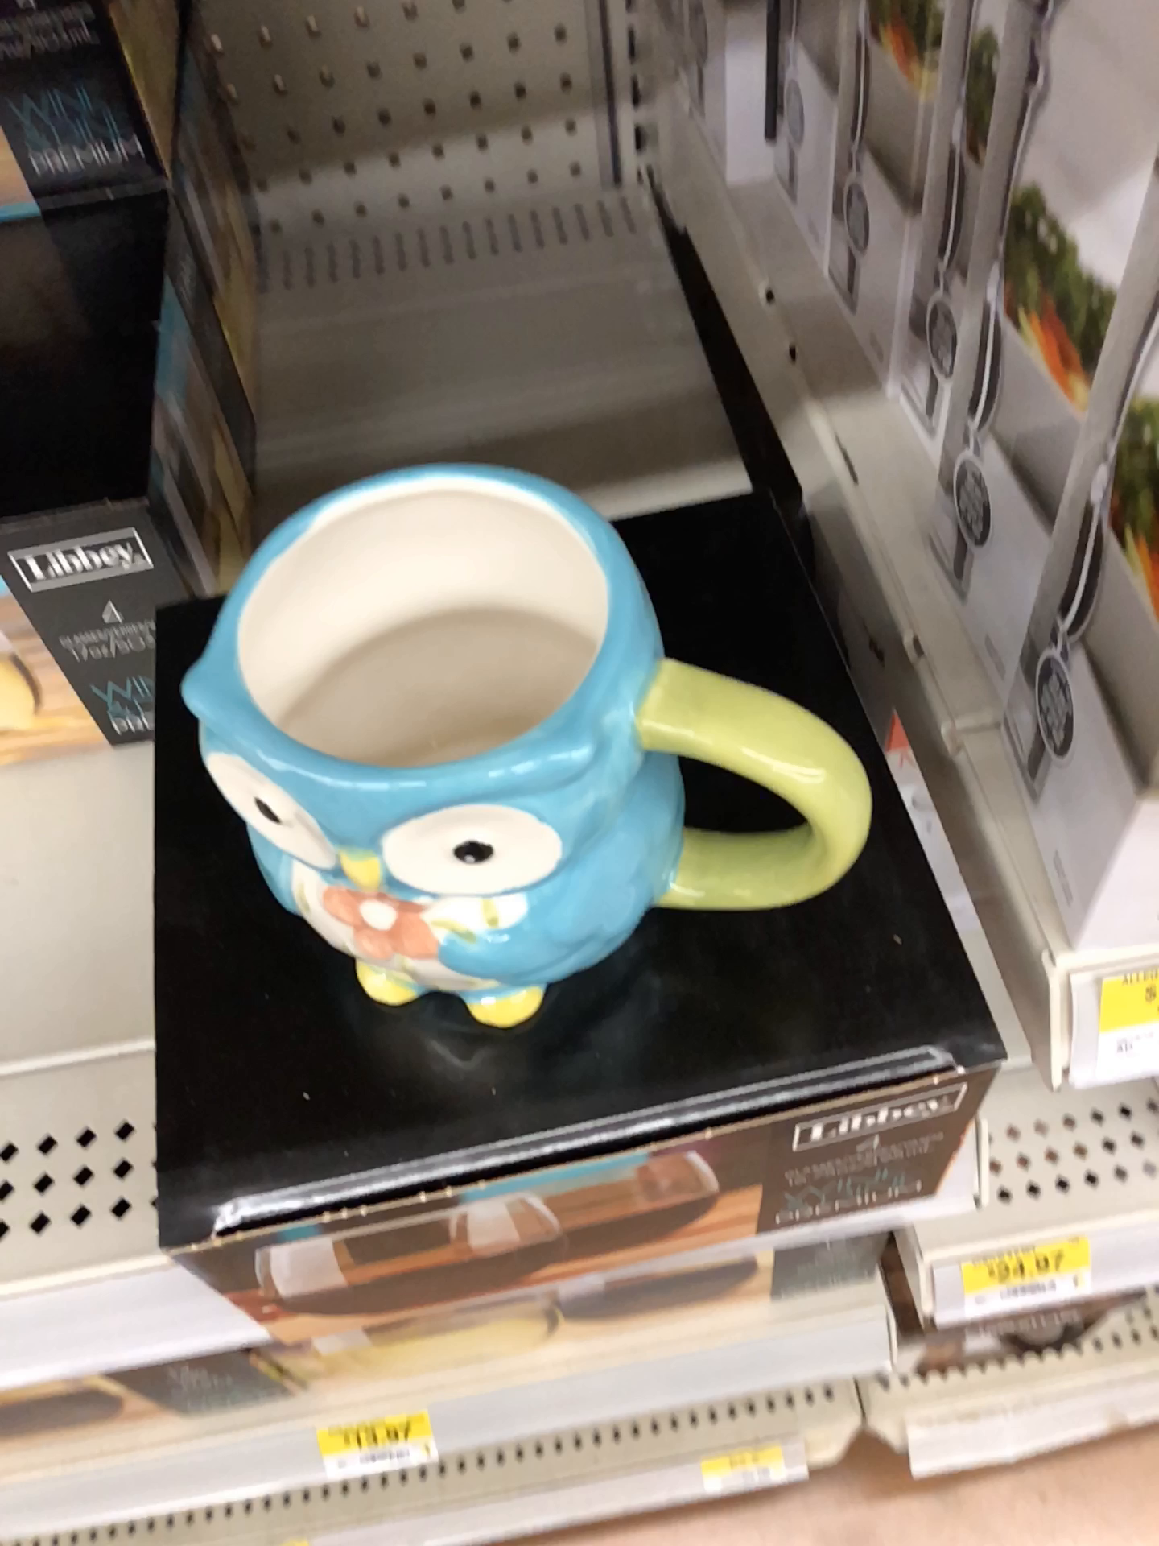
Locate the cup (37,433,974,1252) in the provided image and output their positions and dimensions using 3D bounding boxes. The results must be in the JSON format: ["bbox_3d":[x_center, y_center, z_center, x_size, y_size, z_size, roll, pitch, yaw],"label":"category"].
[{"bbox_3d":[-0.007,0.015,0.269,0.140,0.110,0.090,17,58,18],"label":"cup"}]
